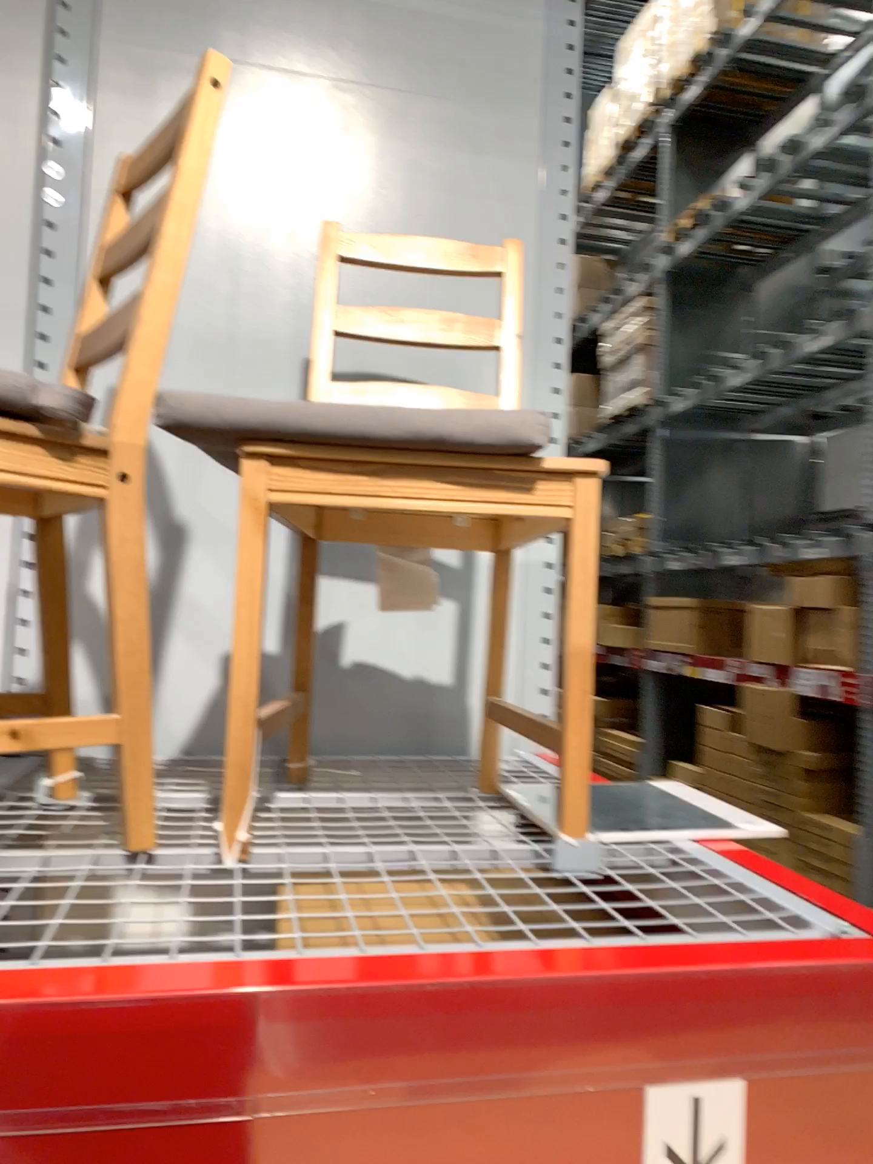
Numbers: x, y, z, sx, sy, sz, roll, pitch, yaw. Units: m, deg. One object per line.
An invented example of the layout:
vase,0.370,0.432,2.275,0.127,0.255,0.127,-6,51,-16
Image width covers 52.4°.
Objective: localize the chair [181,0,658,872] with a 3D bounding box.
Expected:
chair,-0.040,-0.164,1.141,0.440,0.911,0.500,3,-3,-9
